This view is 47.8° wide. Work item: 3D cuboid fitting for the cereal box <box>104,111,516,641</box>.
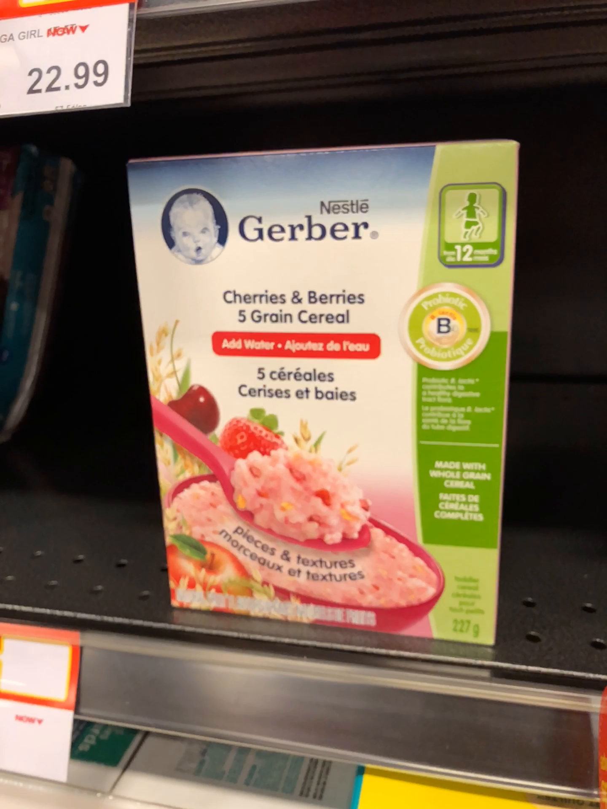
[{"bbox_3d":[0.006,-0.008,0.288,0.150,0.199,0.040,2,17,15],"label":"cereal box"}]
